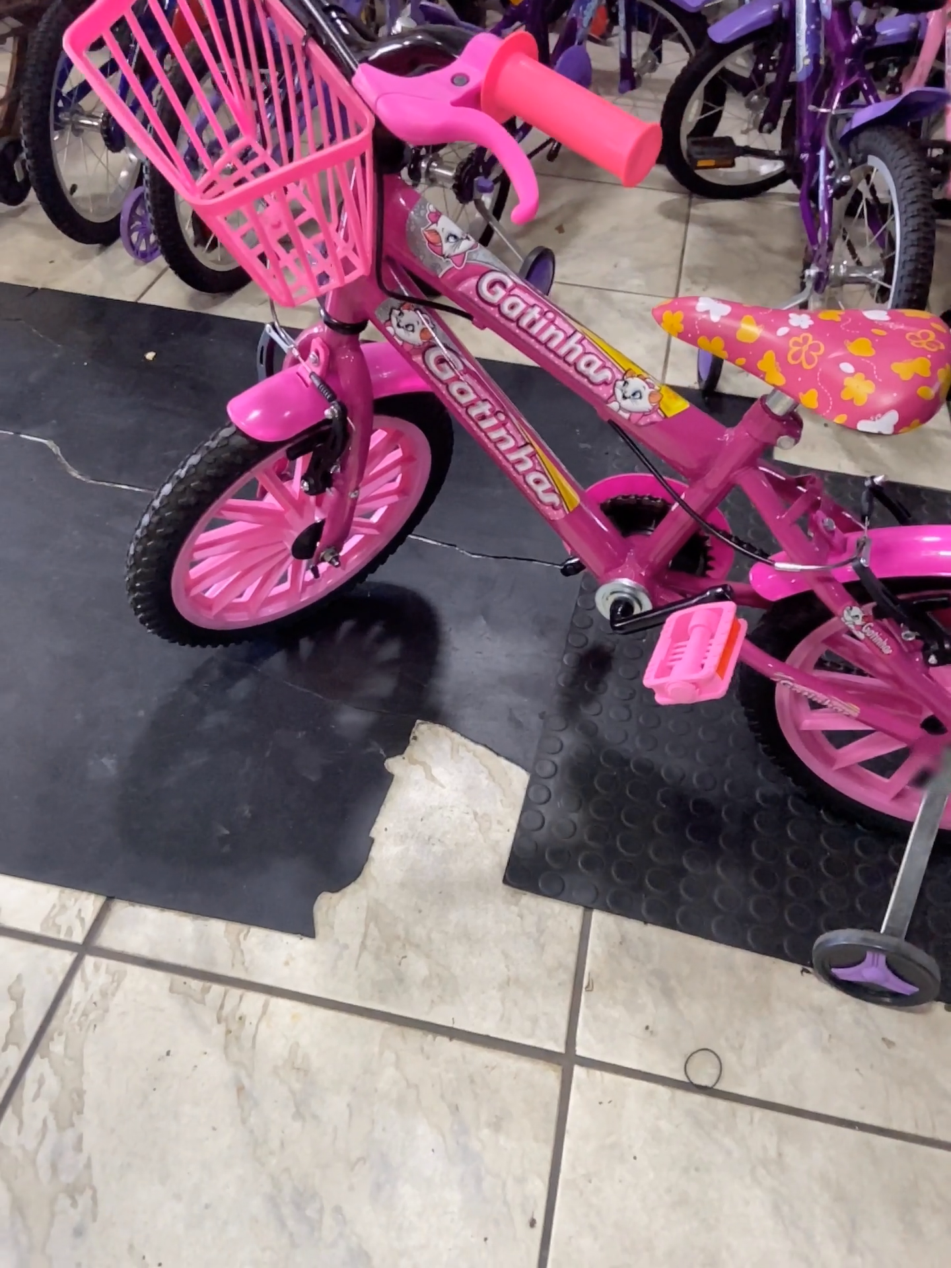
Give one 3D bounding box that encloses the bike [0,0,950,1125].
[{"bbox_3d":[0.125,-0.092,0.727,0.938,0.788,0.468,10,47,9],"label":"bike"}]
